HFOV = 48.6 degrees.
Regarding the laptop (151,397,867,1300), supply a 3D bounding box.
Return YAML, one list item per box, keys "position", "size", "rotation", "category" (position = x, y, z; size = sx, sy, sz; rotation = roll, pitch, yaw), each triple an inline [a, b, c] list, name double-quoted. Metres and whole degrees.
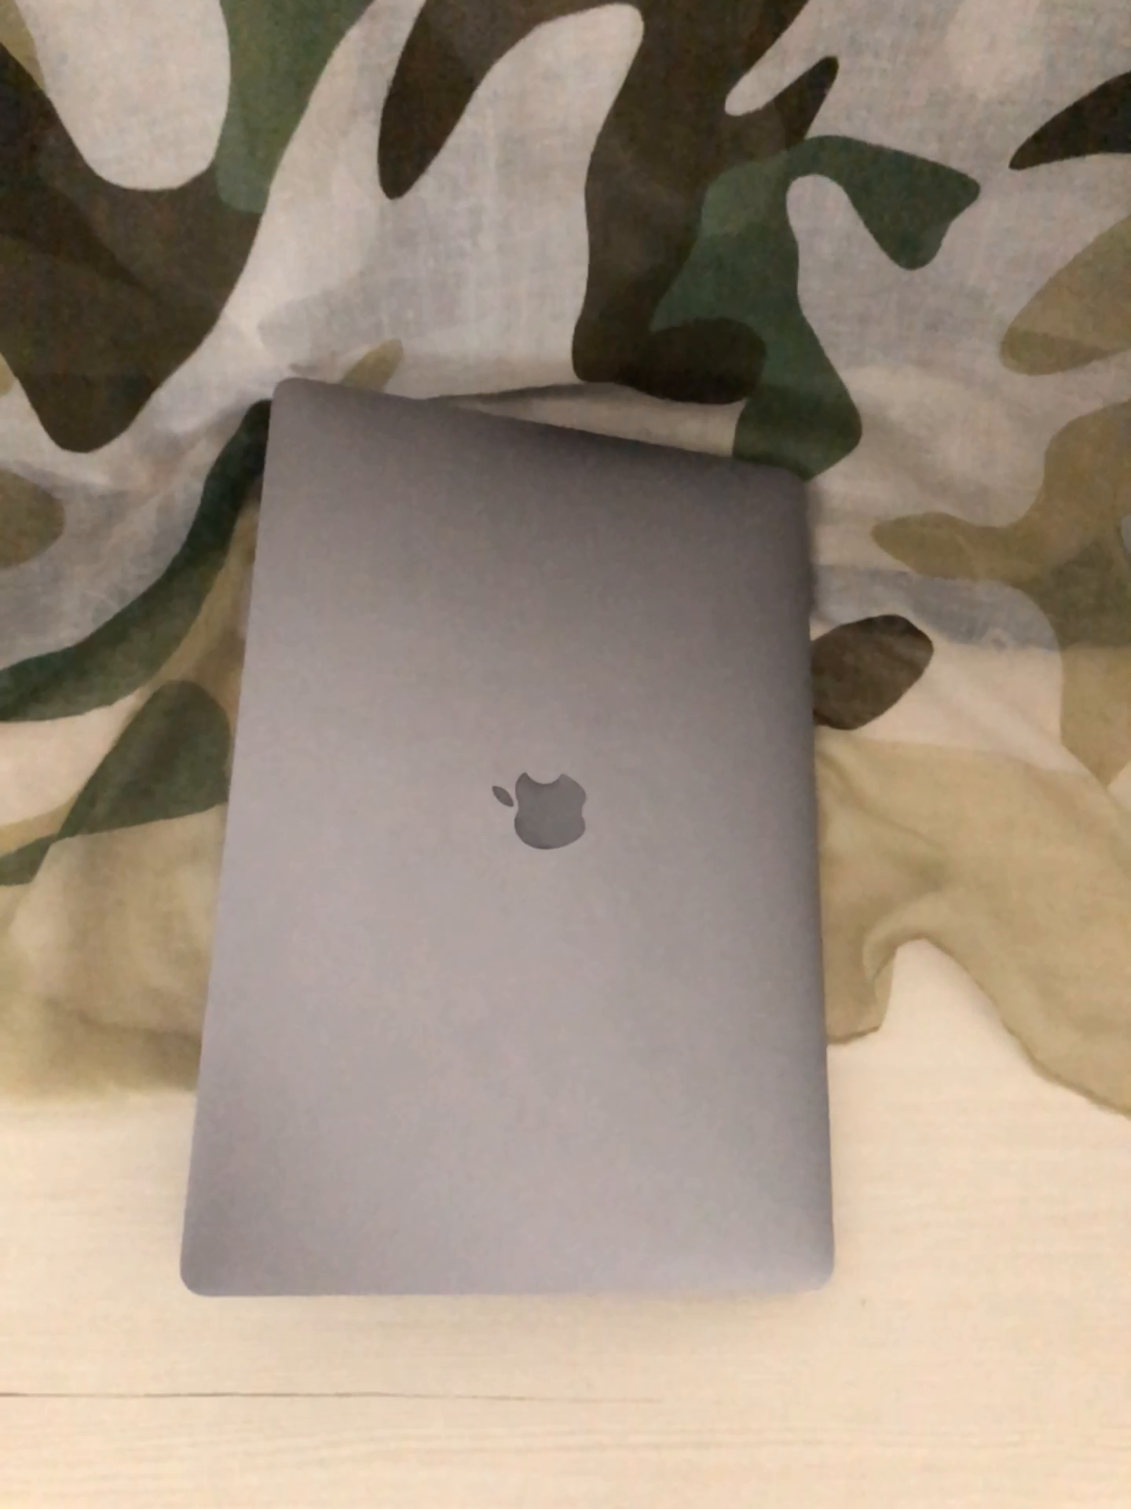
- position: [-0.012, 0.026, 0.495]
  size: [0.236, 0.059, 0.339]
  rotation: [3, 71, -2]
  category: "laptop"
